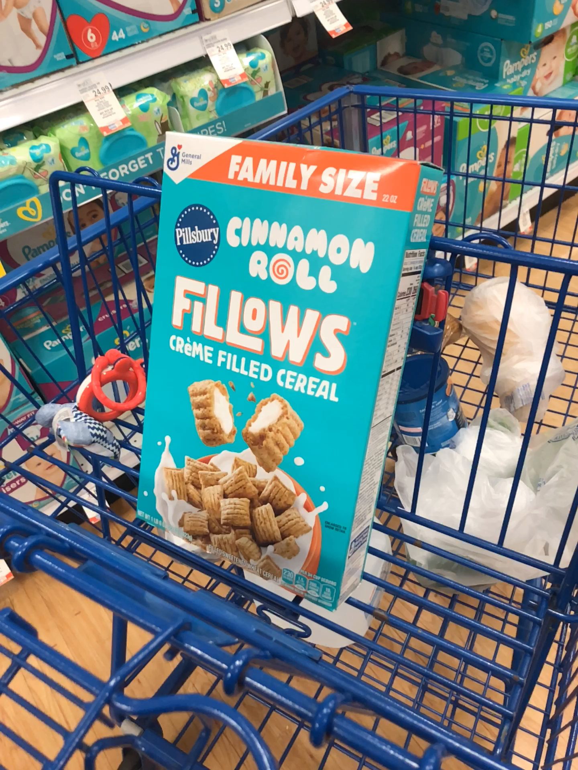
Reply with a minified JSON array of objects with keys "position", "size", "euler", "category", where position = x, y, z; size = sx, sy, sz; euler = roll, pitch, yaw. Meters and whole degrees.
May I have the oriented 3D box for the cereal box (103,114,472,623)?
[{"position":[-0.018,-0.019,0.438],"size":[0.210,0.290,0.060],"euler":[17,17,26],"category":"cereal box"}]
